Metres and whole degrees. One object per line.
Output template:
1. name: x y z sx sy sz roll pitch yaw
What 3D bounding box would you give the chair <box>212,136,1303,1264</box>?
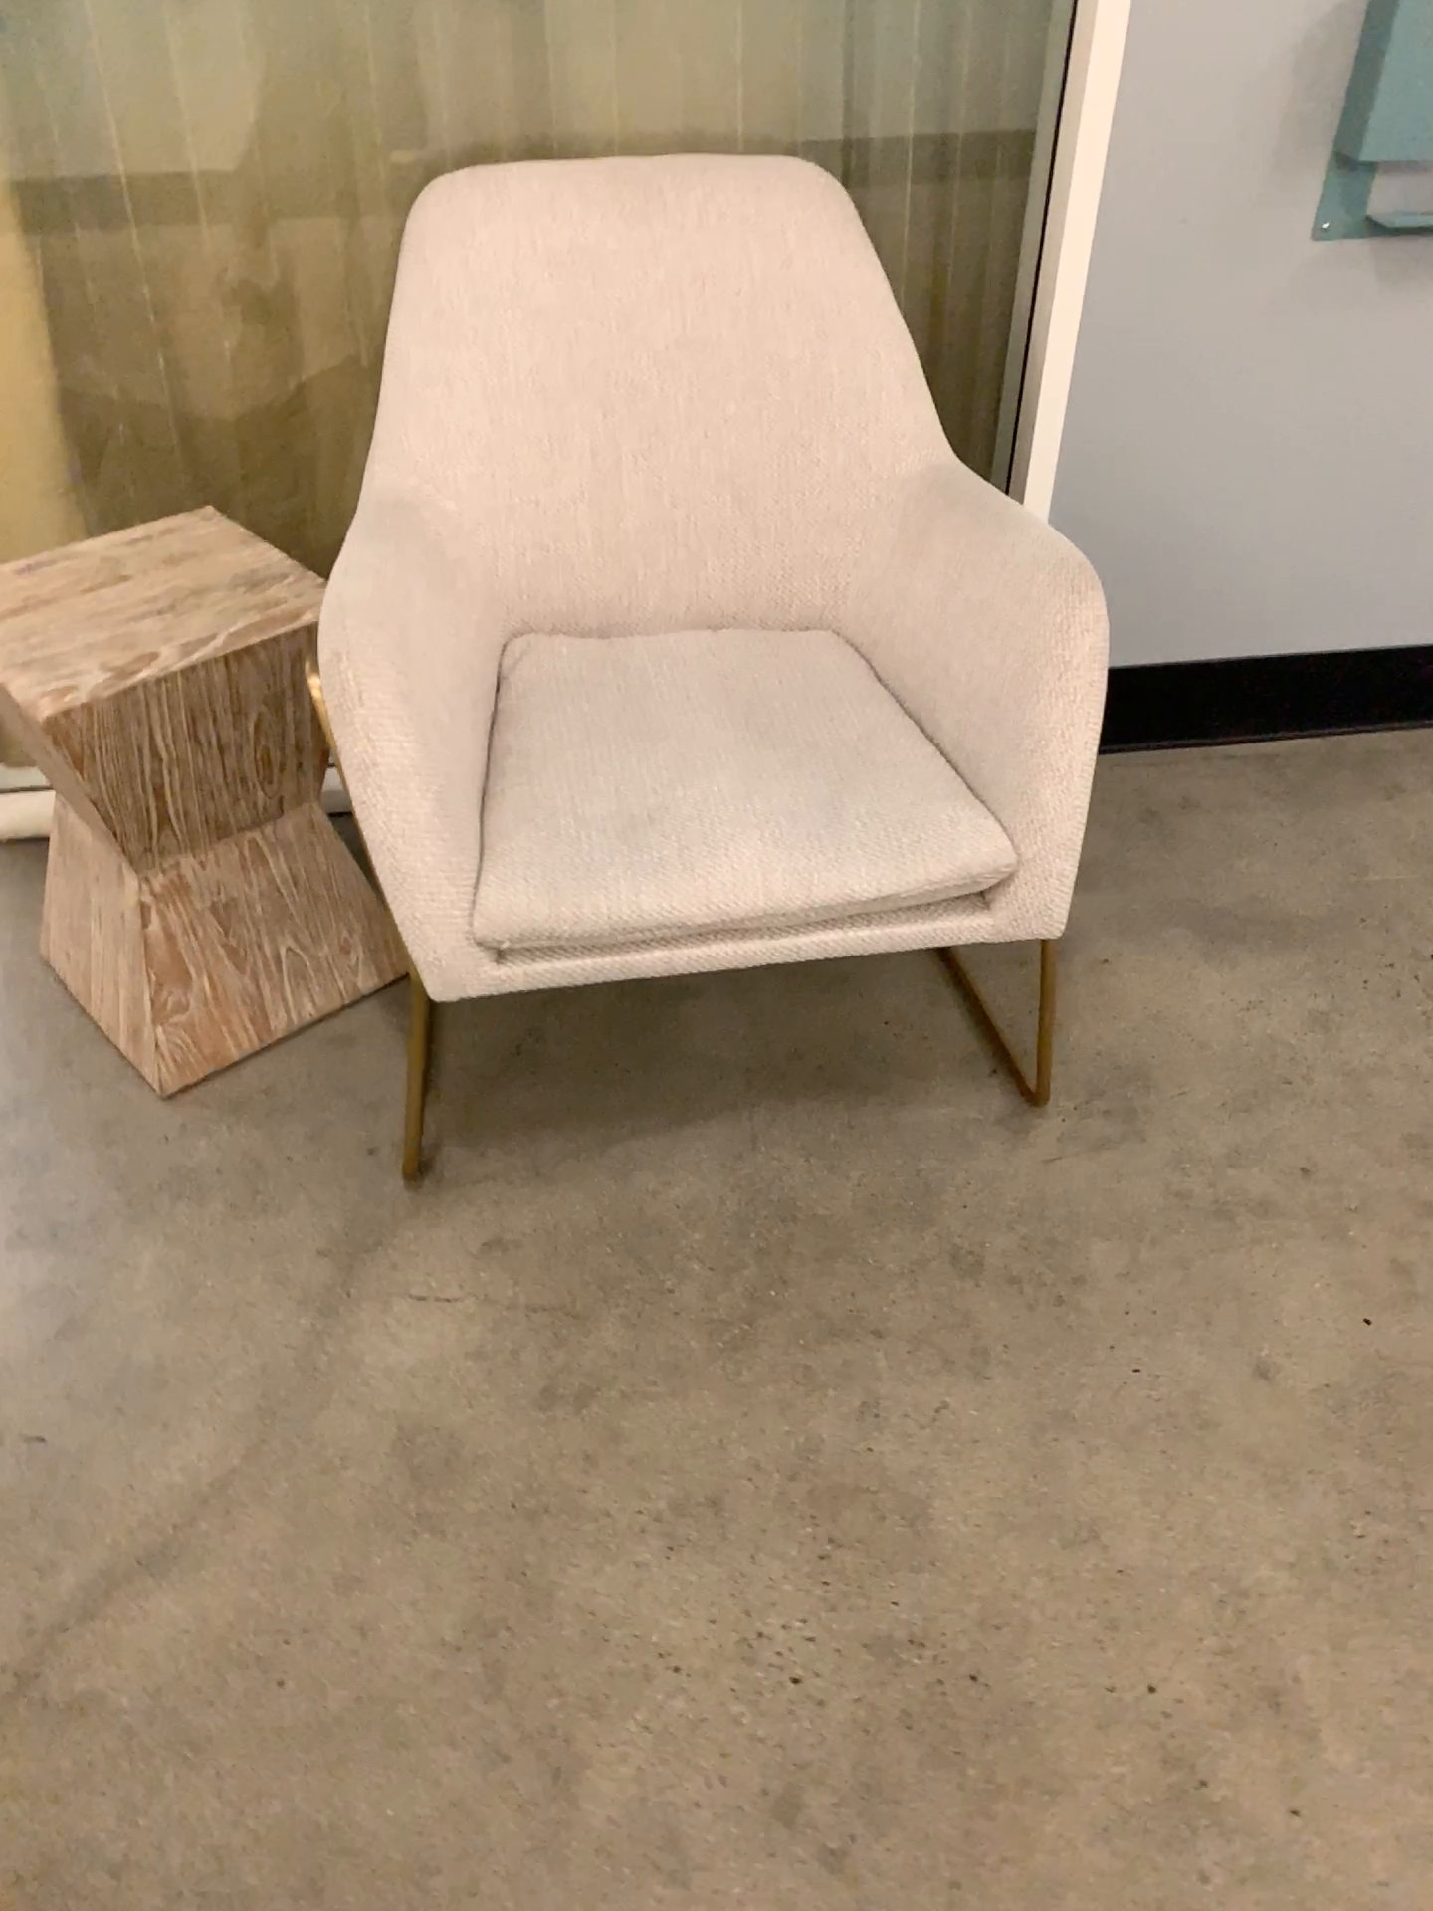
1. chair: -0.035 -0.325 1.578 0.750 0.815 0.885 -6 40 -8
